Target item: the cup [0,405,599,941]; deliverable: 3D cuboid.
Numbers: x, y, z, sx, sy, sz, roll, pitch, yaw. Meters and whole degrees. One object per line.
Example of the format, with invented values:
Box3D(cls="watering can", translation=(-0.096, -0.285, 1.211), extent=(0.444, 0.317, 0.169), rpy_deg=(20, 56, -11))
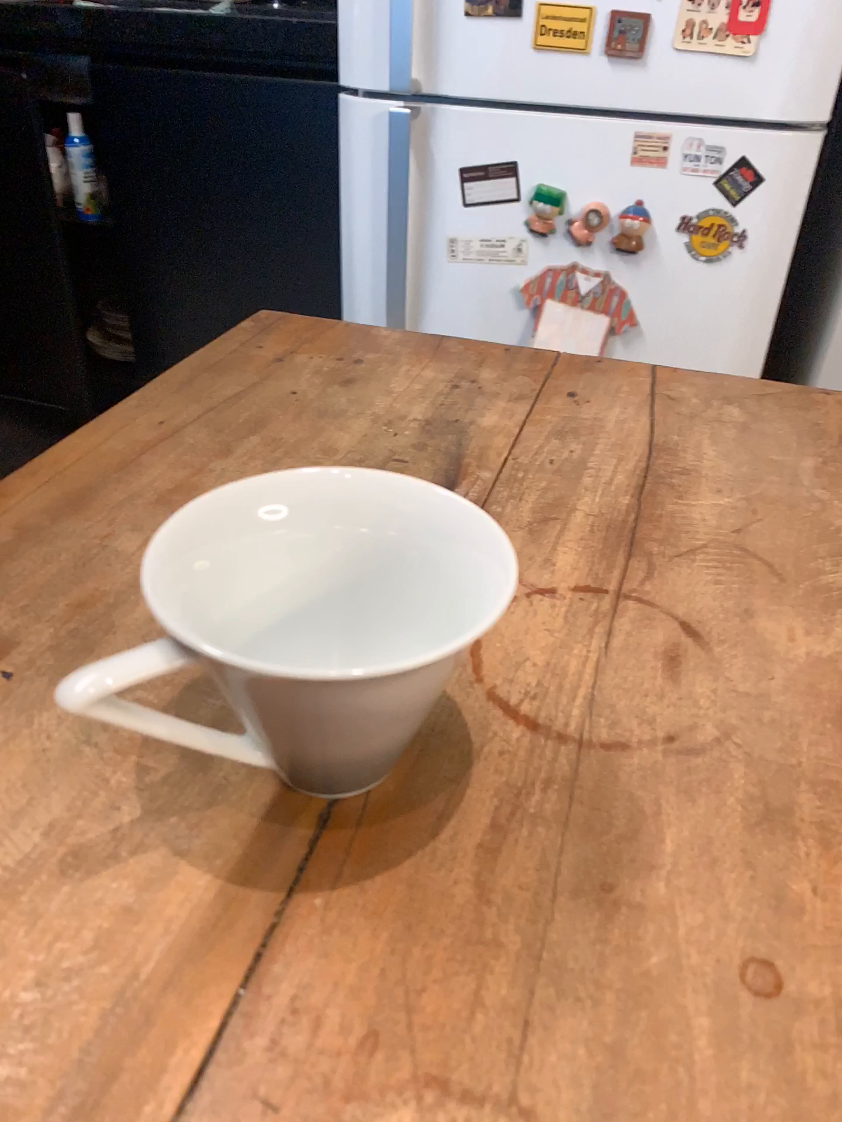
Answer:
Box3D(cls="cup", translation=(-0.034, 0.016, 0.224), extent=(0.120, 0.060, 0.090), rpy_deg=(-19, 40, -28))
